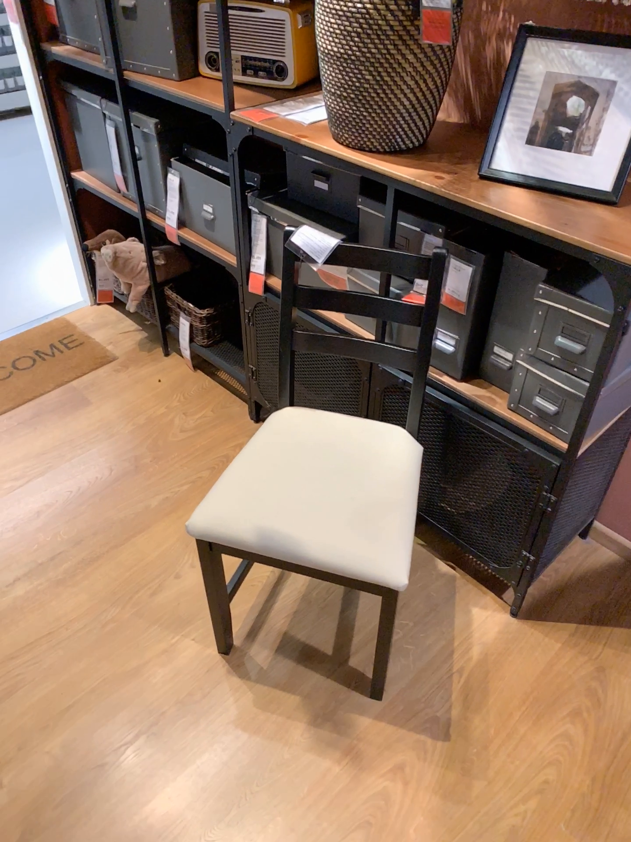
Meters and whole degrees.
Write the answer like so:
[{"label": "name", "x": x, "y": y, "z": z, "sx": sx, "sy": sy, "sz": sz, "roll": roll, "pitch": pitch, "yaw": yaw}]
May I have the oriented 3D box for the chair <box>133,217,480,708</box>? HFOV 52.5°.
[{"label": "chair", "x": 0.026, "y": 0.087, "z": 1.306, "sx": 0.430, "sy": 0.767, "sz": 0.542, "roll": 11, "pitch": 42, "yaw": 13}]
